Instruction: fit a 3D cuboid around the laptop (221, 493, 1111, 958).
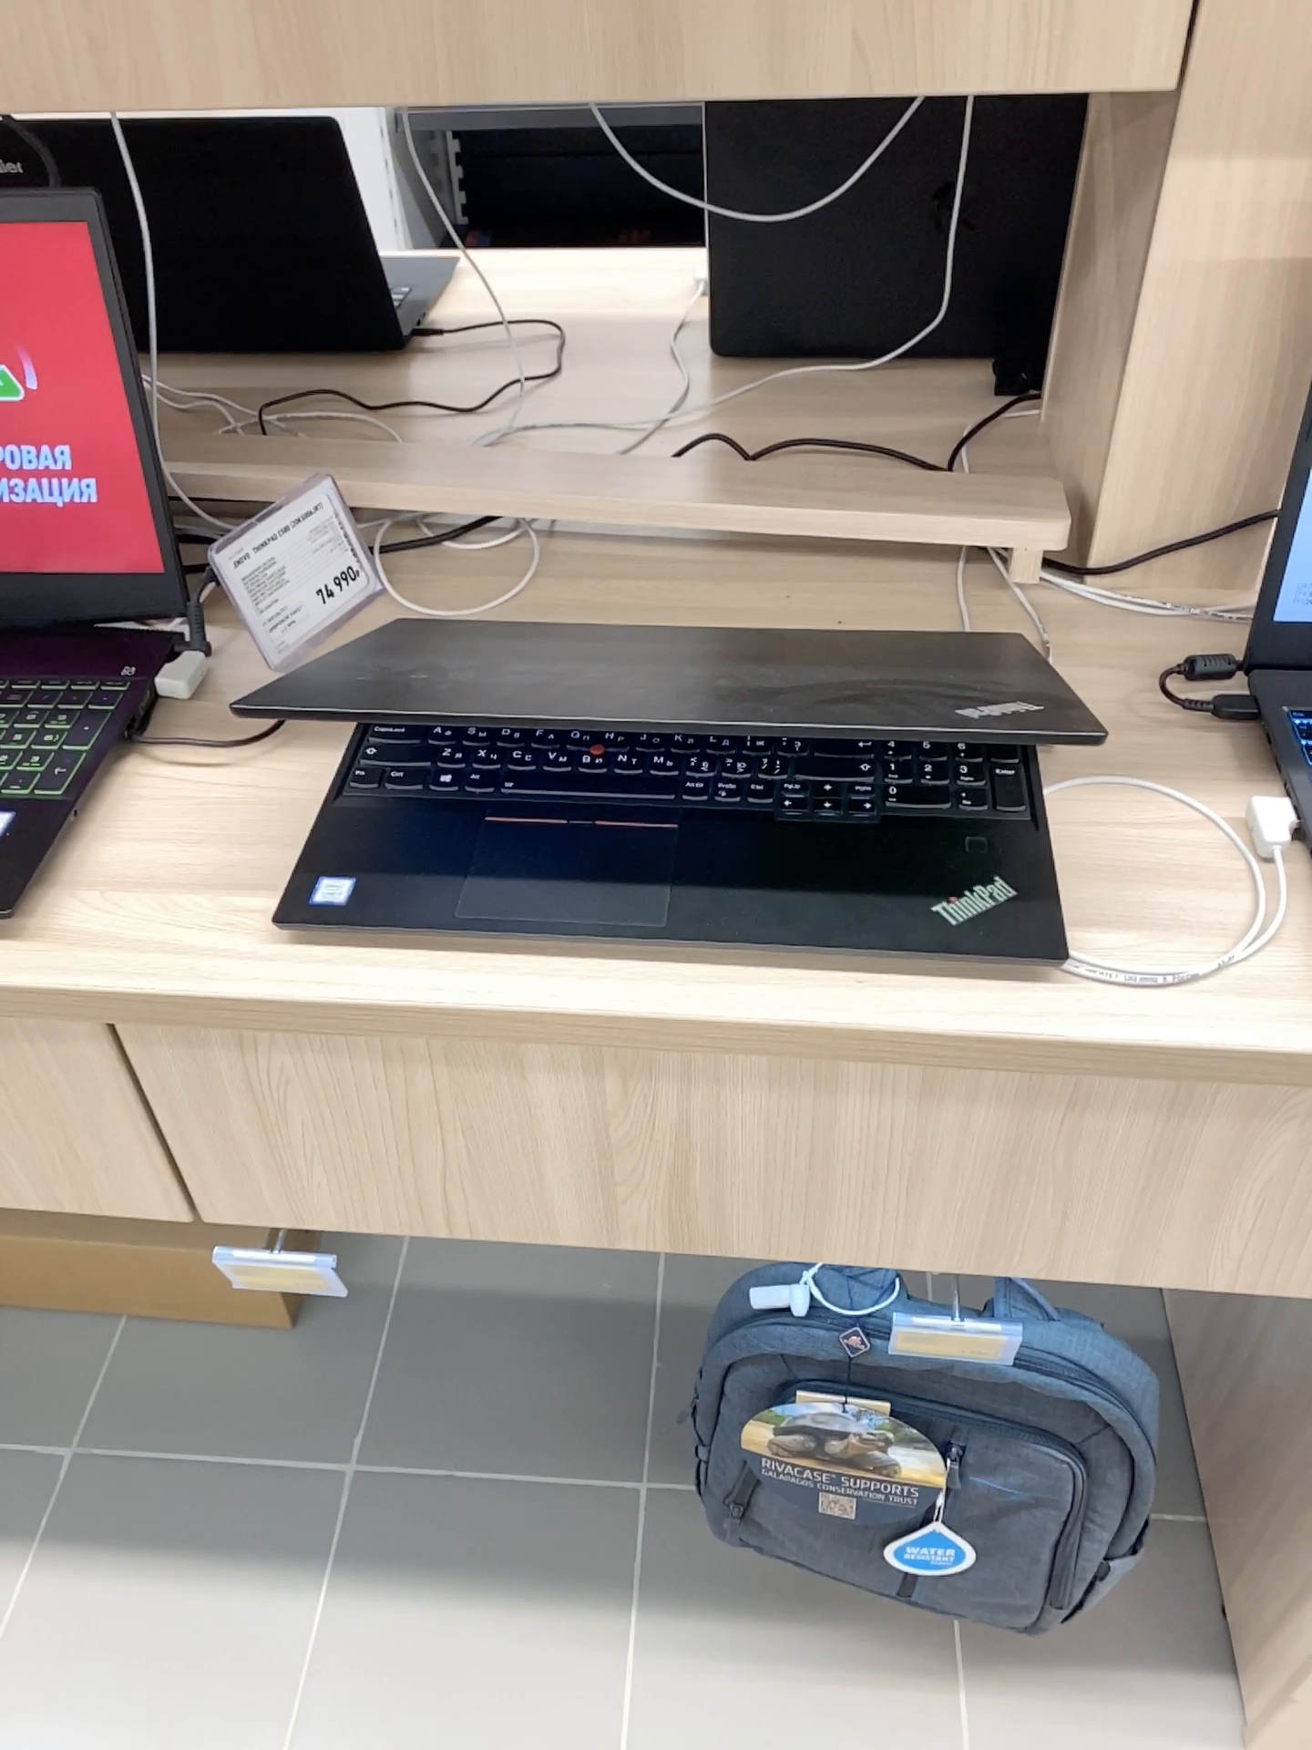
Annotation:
[{"bbox_3d":[0.011,-0.089,0.666,0.368,0.093,0.241,3,43,7],"label":"laptop"}]
